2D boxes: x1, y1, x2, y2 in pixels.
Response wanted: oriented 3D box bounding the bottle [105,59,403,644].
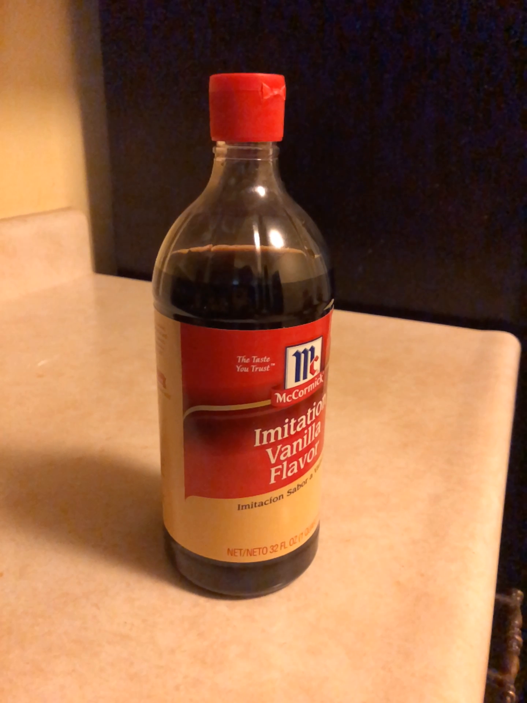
[{"bbox_3d":[-0.005,-0.001,0.281,0.090,0.239,0.080,-19,29,-41],"label":"bottle"}]
